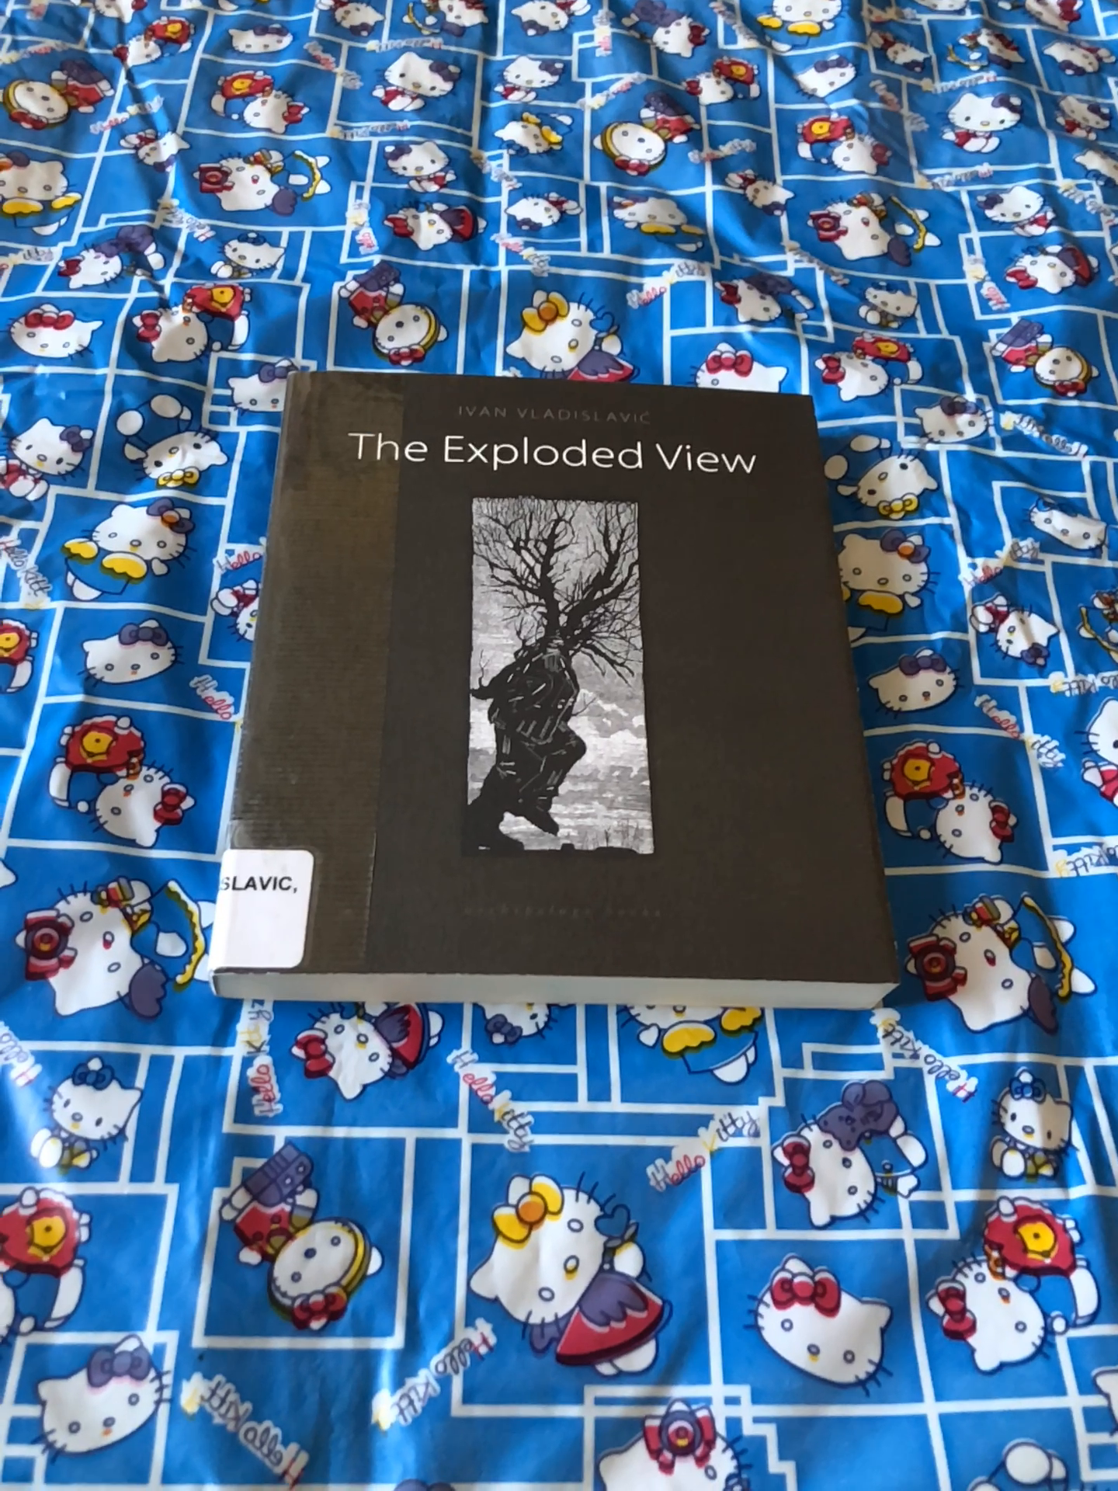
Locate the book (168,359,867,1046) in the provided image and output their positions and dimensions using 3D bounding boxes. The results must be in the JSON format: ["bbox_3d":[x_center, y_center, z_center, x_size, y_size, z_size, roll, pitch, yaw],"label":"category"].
[{"bbox_3d":[-0.008,-0.017,0.296,0.140,0.020,0.170,2,63,-4],"label":"book"}]
